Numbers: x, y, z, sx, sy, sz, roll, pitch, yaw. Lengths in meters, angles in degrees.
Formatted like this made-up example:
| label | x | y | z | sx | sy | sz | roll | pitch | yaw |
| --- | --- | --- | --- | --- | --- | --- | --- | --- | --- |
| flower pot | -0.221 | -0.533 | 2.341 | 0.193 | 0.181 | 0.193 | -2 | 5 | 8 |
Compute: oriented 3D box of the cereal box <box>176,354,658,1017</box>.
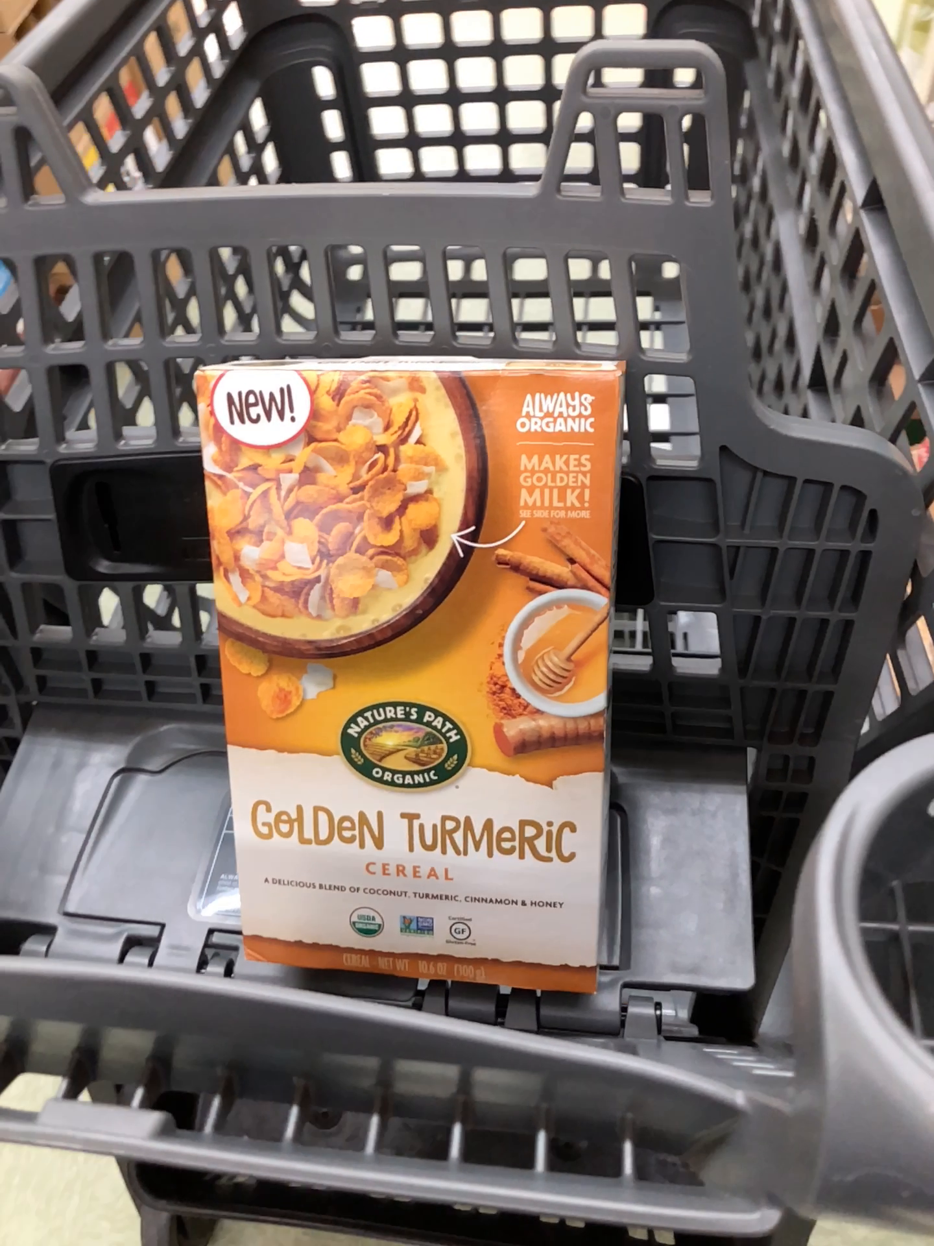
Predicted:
| label | x | y | z | sx | sy | sz | roll | pitch | yaw |
| --- | --- | --- | --- | --- | --- | --- | --- | --- | --- |
| cereal box | -0.016 | 0.023 | 0.447 | 0.180 | 0.270 | 0.070 | 2 | 15 | 9 |
